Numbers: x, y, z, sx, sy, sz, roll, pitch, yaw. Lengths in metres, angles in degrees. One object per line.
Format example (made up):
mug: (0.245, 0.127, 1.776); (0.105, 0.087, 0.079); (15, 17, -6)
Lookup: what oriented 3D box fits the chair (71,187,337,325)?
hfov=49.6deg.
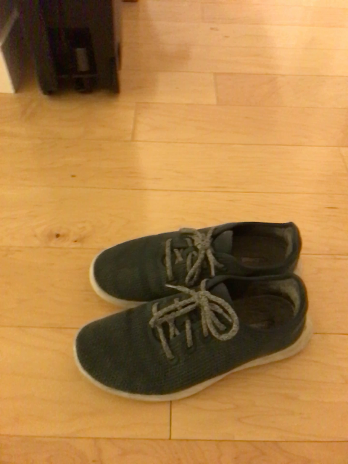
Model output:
chair: (0.035, 0.031, 0.514); (0.320, 0.099, 0.100); (-10, 62, -10)

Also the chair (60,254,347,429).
chair: (0.030, 0.126, 0.450); (0.300, 0.099, 0.111); (-10, 54, -10)
